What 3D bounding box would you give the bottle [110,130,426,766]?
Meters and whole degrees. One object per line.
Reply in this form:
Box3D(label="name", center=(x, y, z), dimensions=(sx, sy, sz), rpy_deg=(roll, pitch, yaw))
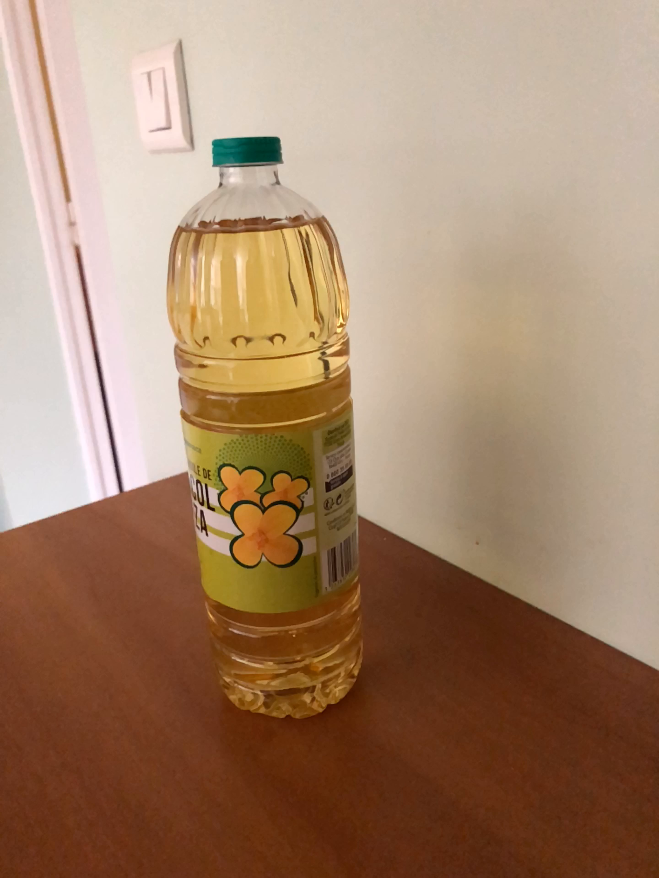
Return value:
Box3D(label="bottle", center=(-0.019, 0.002, 0.348), dimensions=(0.090, 0.269, 0.090), rpy_deg=(-3, 21, 1))
